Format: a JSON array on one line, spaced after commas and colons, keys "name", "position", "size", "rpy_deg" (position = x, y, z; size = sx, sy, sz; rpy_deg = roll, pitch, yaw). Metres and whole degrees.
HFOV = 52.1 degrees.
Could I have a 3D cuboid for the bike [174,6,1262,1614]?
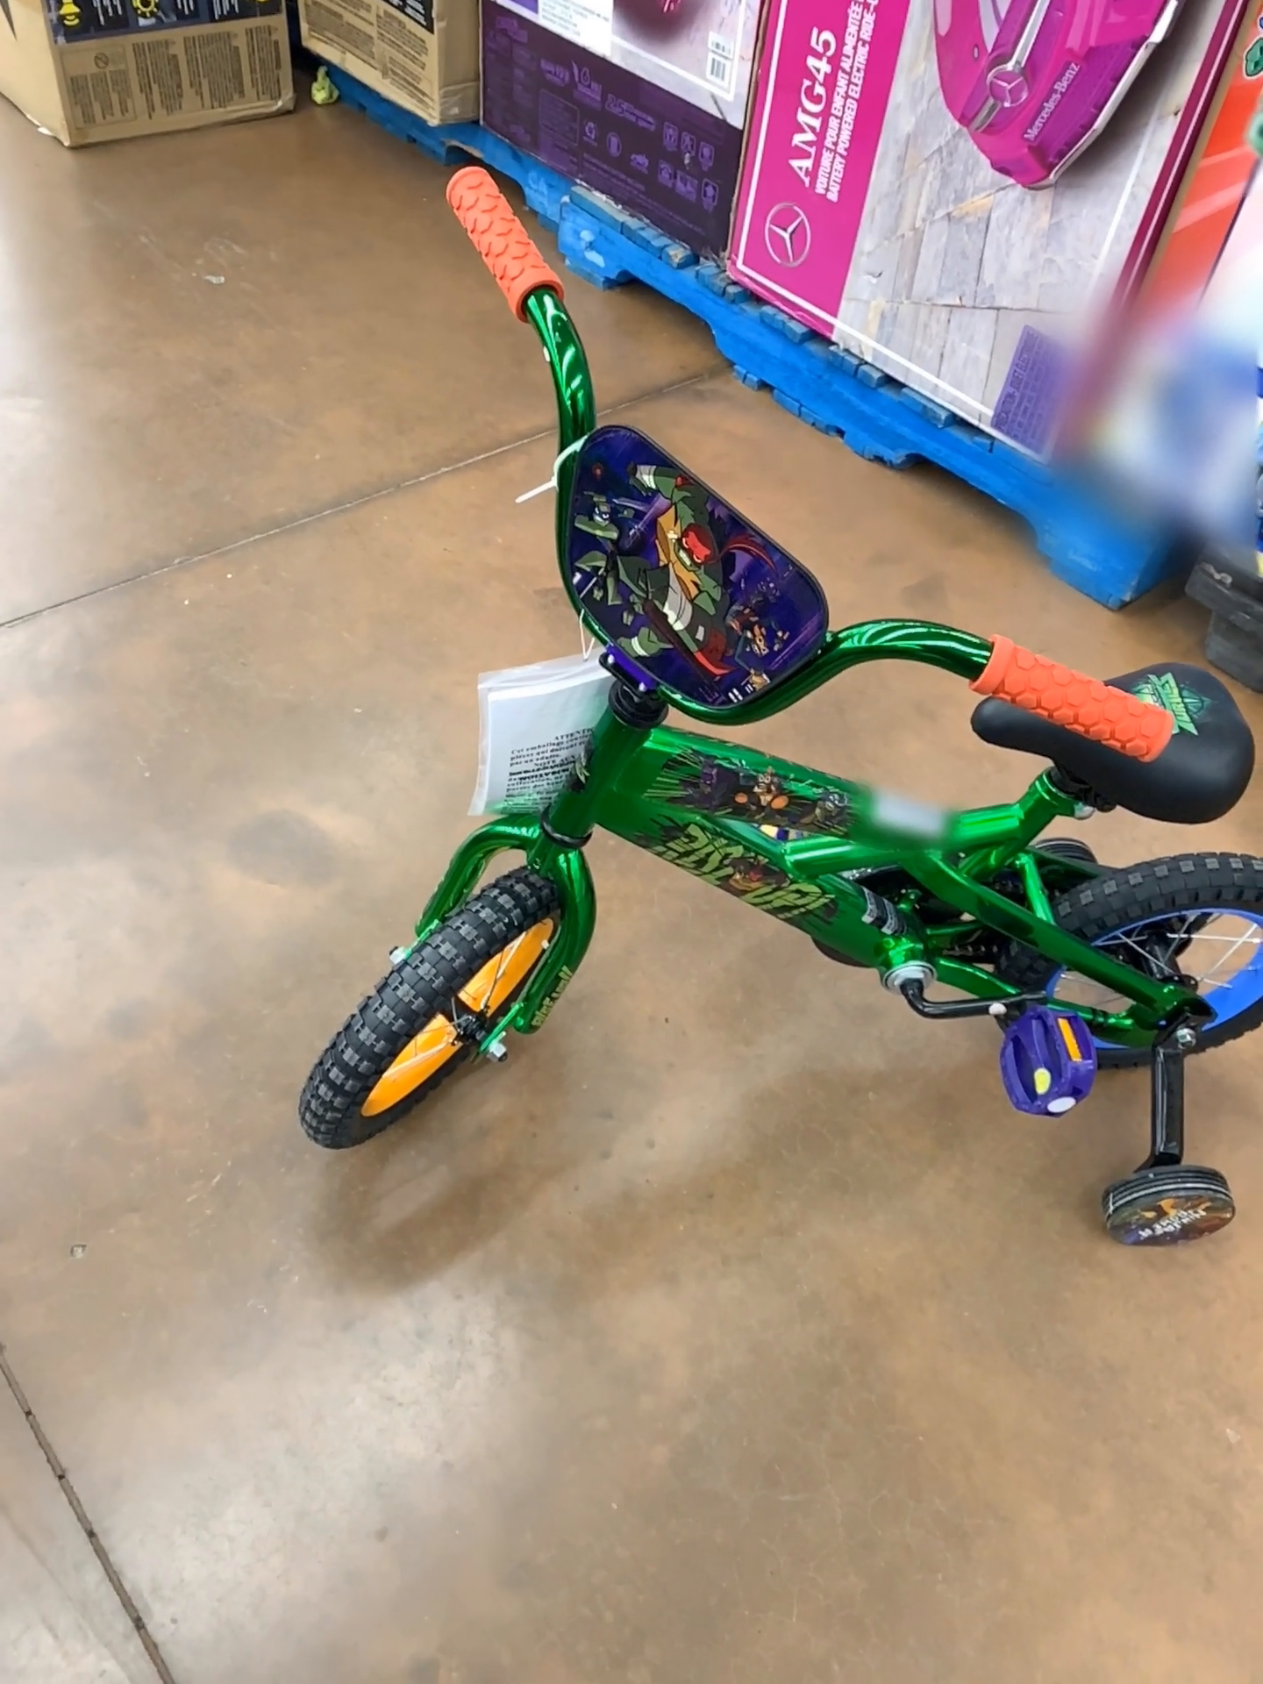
[{"name": "bike", "position": [0.234, 0.017, 0.836], "size": [0.851, 0.732, 0.491], "rpy_deg": [-5, 49, -17]}]
